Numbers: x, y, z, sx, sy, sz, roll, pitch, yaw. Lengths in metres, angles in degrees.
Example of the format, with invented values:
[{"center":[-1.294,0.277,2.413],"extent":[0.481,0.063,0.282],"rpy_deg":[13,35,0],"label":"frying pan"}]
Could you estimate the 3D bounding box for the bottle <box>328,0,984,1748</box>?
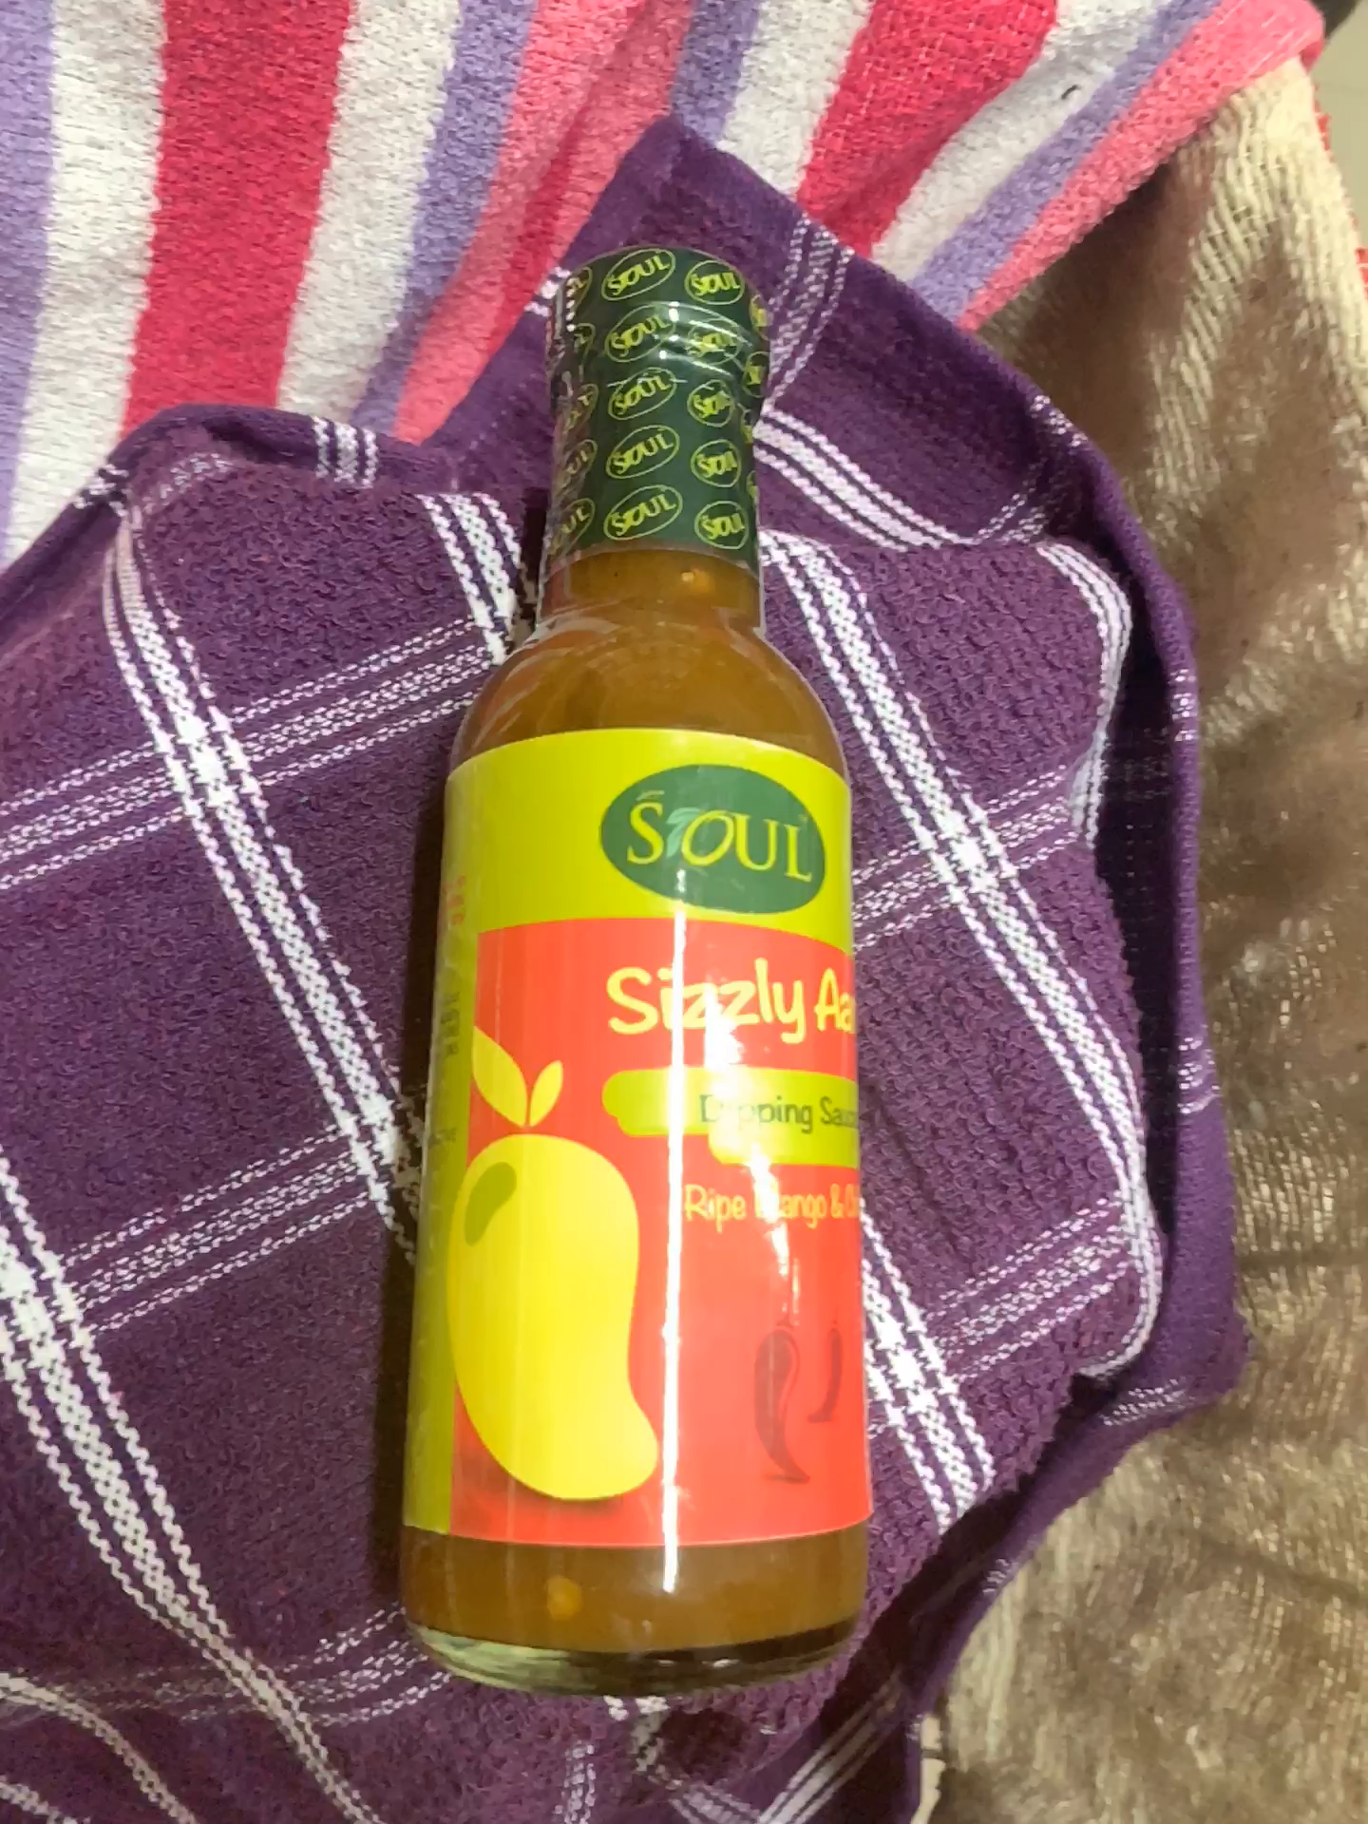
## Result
[{"center":[-0.005,-0.014,0.184],"extent":[0.060,0.060,0.200],"rpy_deg":[3,74,-9],"label":"bottle"}]
